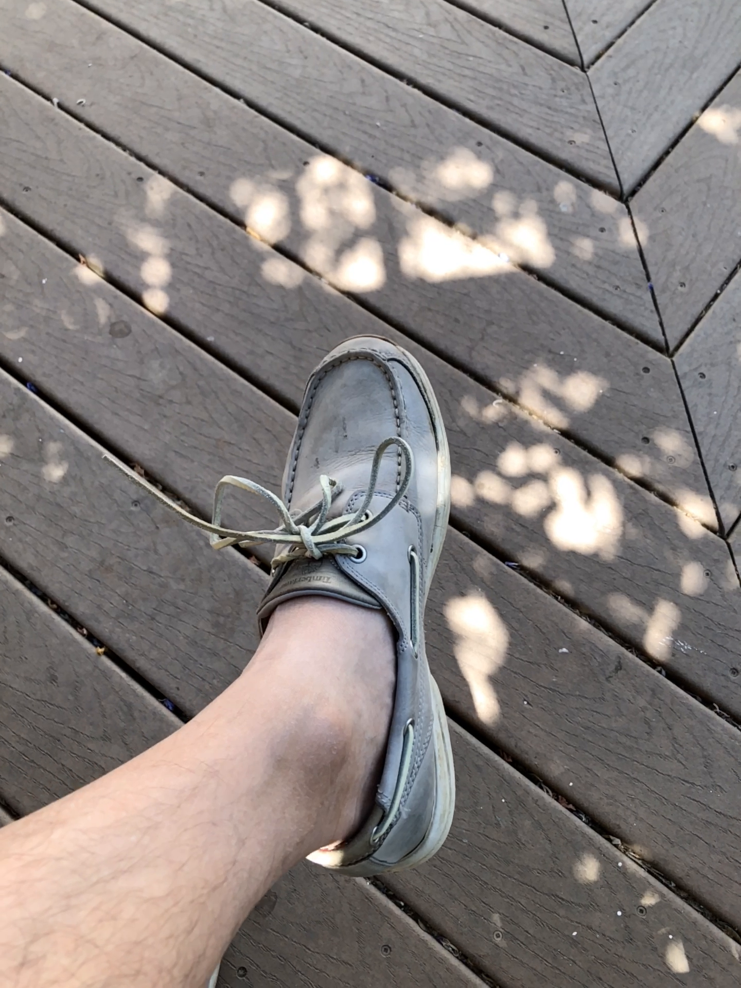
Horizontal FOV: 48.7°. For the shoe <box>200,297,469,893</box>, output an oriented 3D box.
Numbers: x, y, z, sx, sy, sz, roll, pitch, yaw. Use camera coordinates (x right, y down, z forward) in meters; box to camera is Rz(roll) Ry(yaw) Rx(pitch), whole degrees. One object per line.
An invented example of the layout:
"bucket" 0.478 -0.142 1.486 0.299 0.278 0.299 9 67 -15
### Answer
"shoe" -0.015 0.057 0.497 0.110 0.092 0.323 -13 64 33
